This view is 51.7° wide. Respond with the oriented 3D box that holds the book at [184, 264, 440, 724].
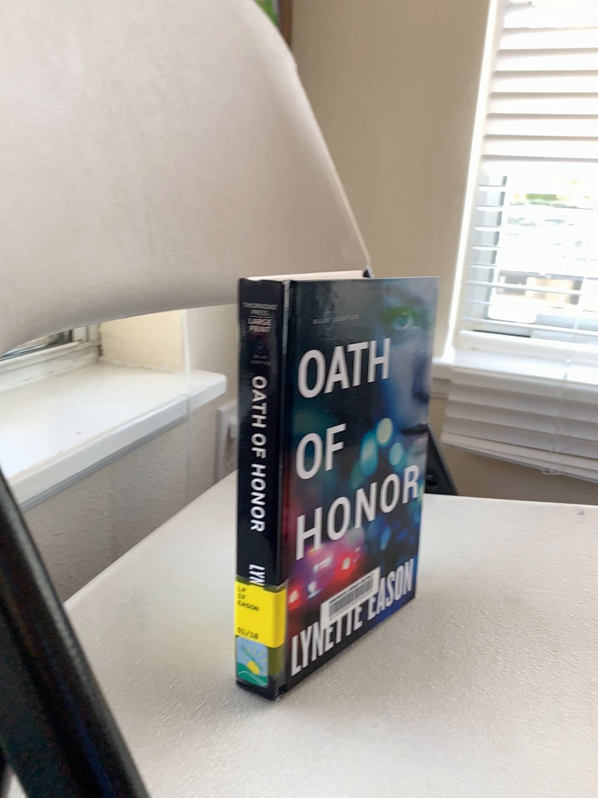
[{"bbox_3d":[0.016,0.034,0.357,0.063,0.217,0.155,9,16,34],"label":"book"}]
